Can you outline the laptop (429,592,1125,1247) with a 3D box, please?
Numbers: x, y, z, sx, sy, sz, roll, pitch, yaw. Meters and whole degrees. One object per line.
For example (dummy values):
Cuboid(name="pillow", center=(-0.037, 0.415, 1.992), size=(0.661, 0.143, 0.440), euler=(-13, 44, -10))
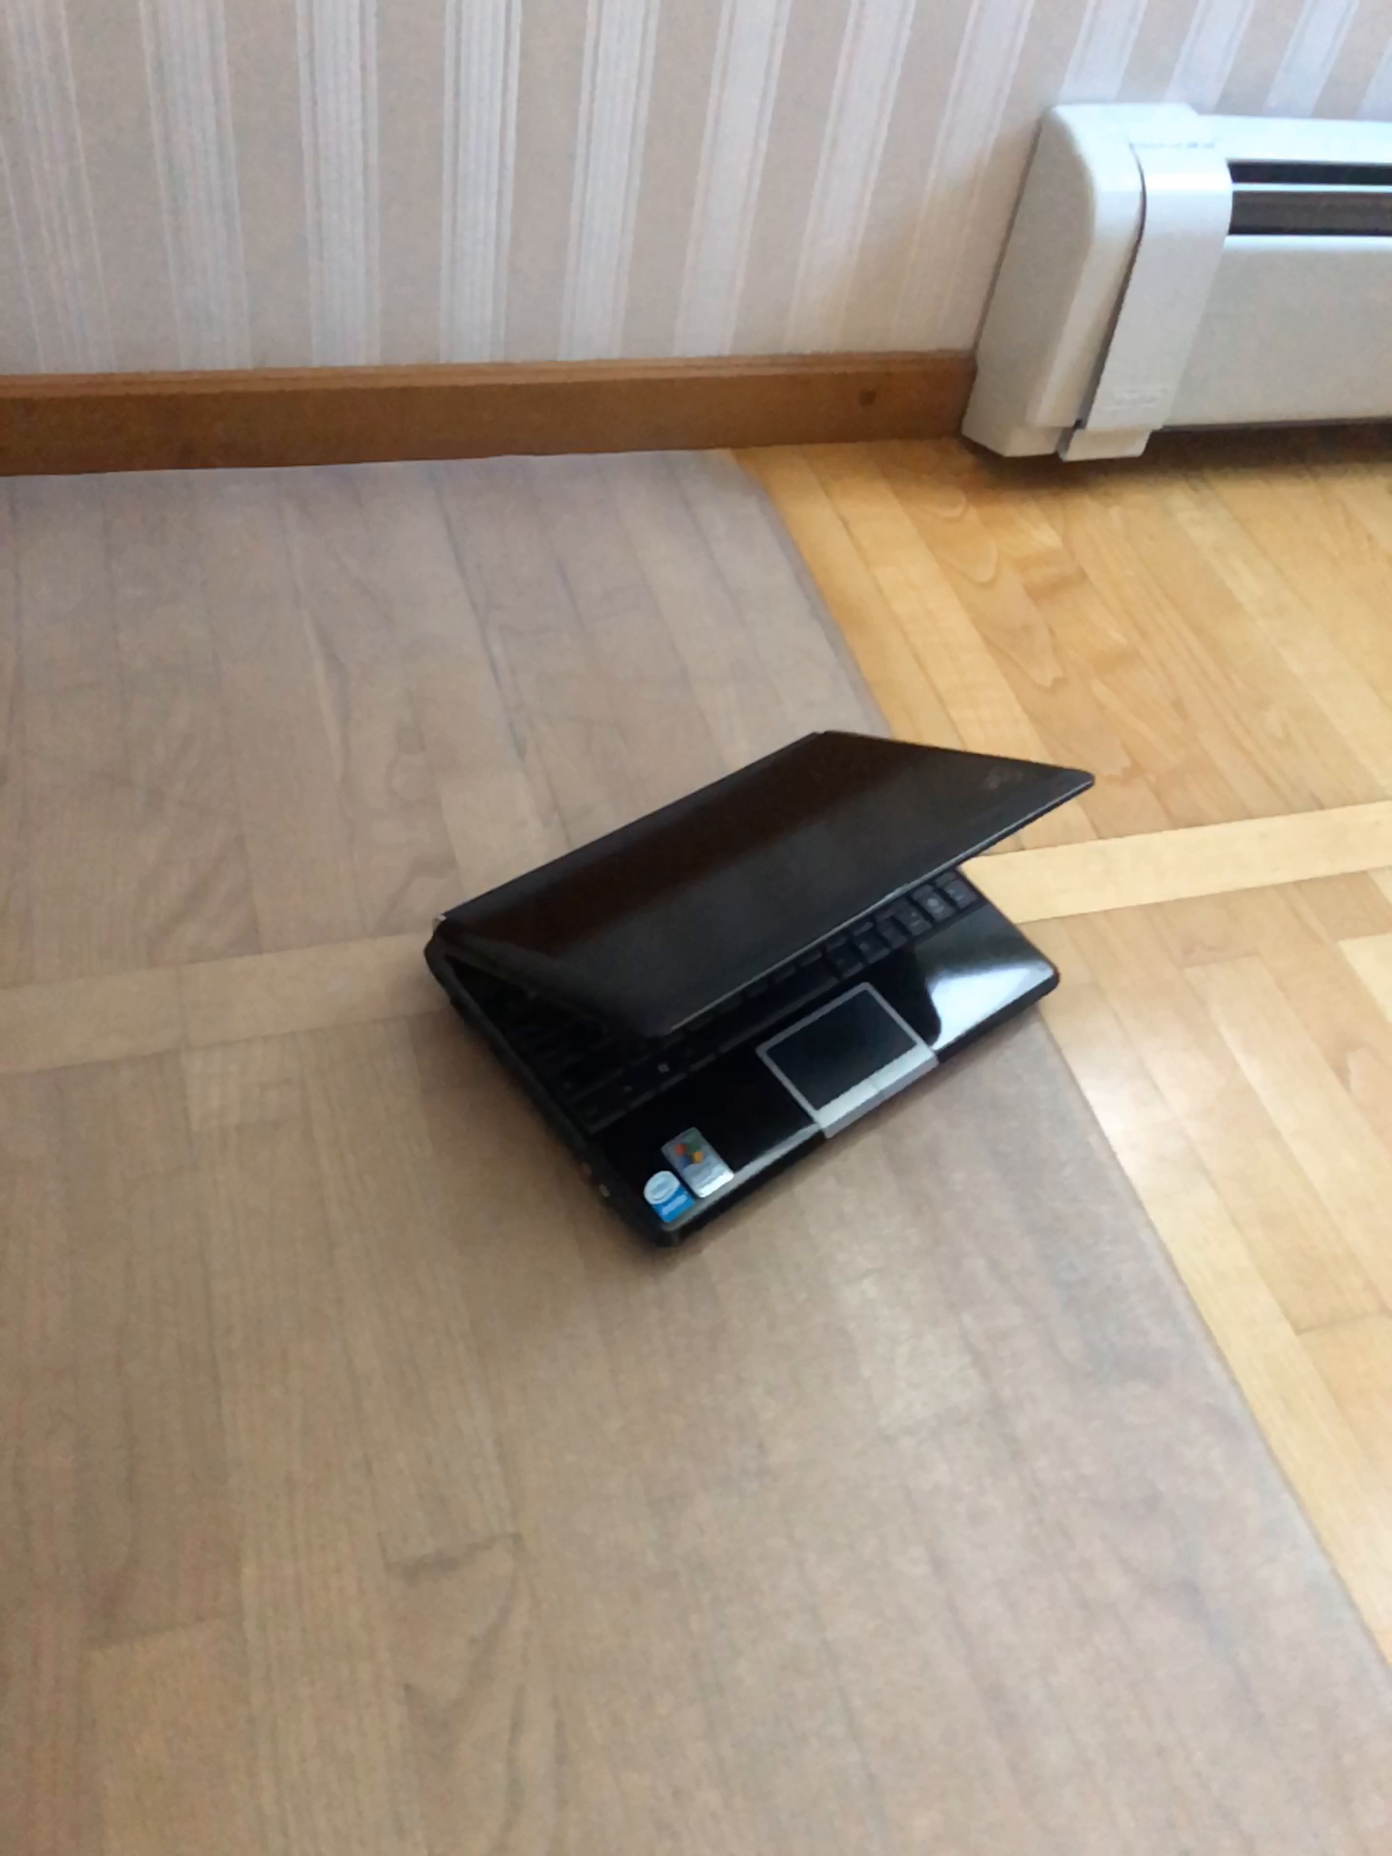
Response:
Cuboid(name="laptop", center=(0.037, -0.017, 0.713), size=(0.265, 0.102, 0.182), euler=(-29, 65, -31))
